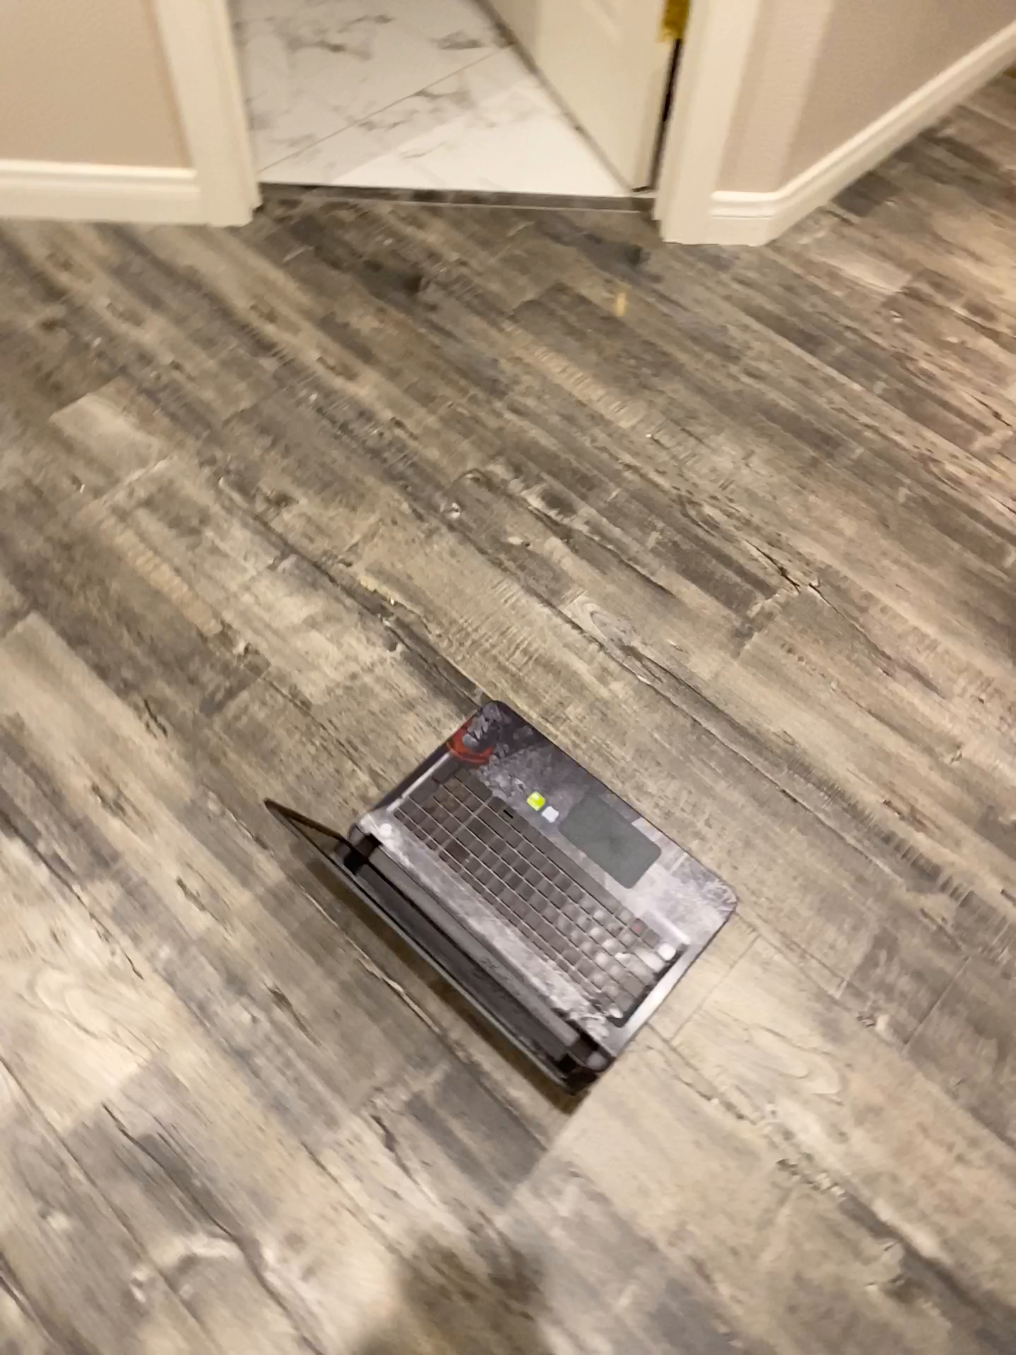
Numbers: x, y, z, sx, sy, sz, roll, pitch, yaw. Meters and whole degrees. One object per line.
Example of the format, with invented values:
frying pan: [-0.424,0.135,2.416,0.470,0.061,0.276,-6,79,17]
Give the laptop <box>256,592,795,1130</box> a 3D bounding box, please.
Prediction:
laptop: [0.013,0.177,1.047,0.371,0.225,0.328,39,63,19]
